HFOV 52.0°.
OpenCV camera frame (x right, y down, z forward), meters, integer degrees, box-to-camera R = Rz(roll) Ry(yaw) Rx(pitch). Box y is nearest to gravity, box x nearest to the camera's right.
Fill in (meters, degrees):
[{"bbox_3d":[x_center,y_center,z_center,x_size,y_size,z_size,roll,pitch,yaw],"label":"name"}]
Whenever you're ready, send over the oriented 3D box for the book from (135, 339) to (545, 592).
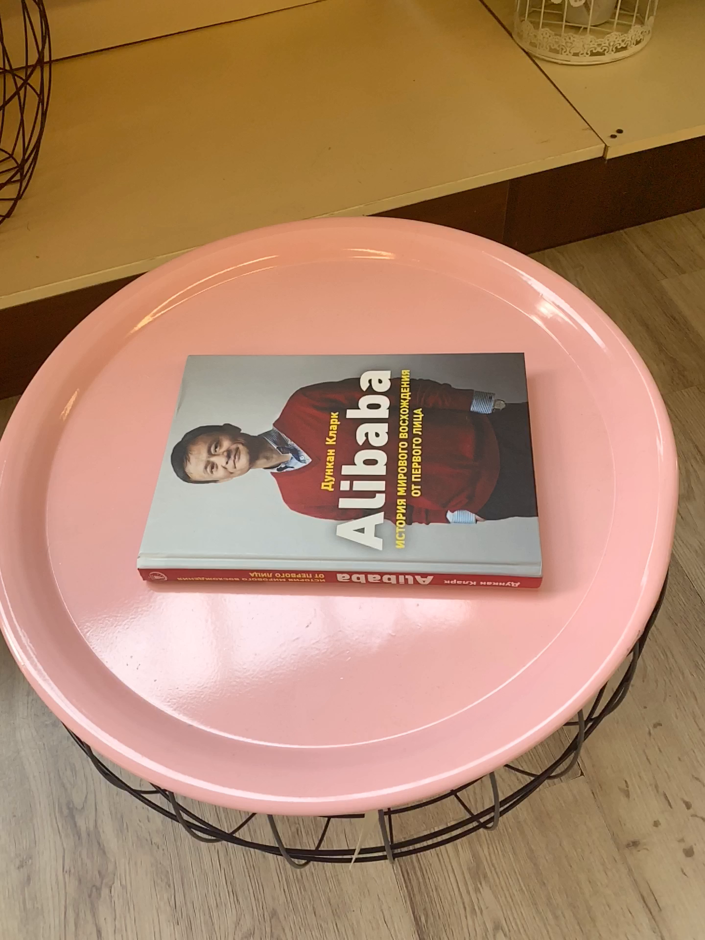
[{"bbox_3d":[-0.004,-0.011,0.481,0.240,0.026,0.180,1,57,5],"label":"book"}]
